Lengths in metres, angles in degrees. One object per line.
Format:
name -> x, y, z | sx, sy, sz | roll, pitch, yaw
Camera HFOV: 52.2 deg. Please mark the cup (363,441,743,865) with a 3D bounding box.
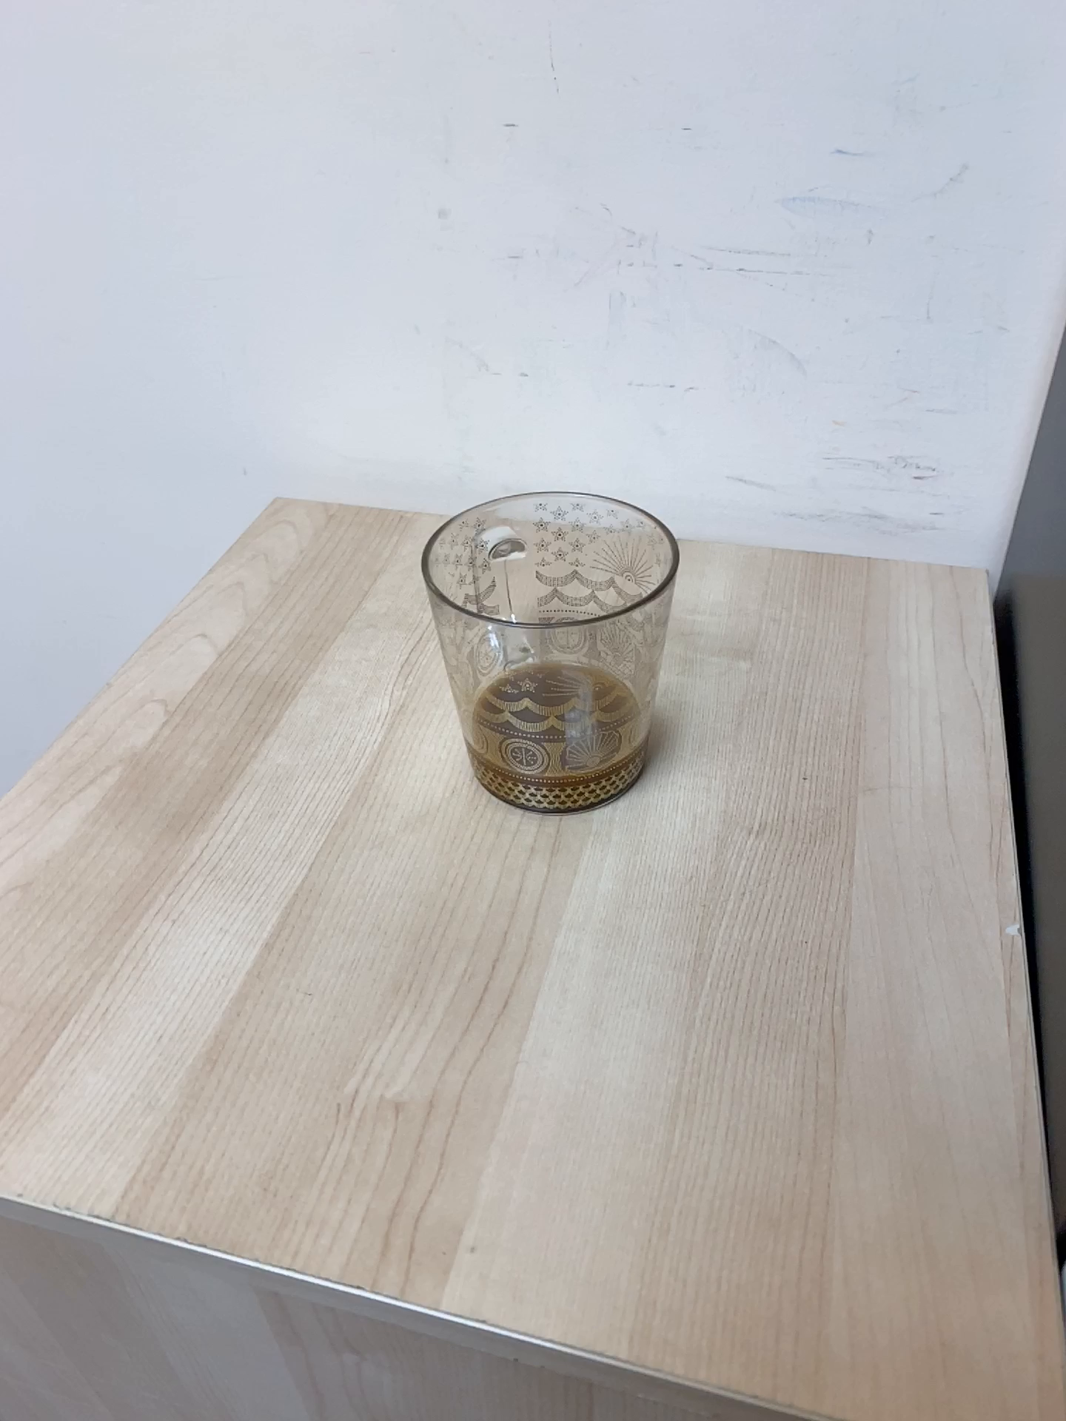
cup -> 0.004, -0.029, 0.438 | 0.099, 0.098, 0.125 | -17, 40, -18
